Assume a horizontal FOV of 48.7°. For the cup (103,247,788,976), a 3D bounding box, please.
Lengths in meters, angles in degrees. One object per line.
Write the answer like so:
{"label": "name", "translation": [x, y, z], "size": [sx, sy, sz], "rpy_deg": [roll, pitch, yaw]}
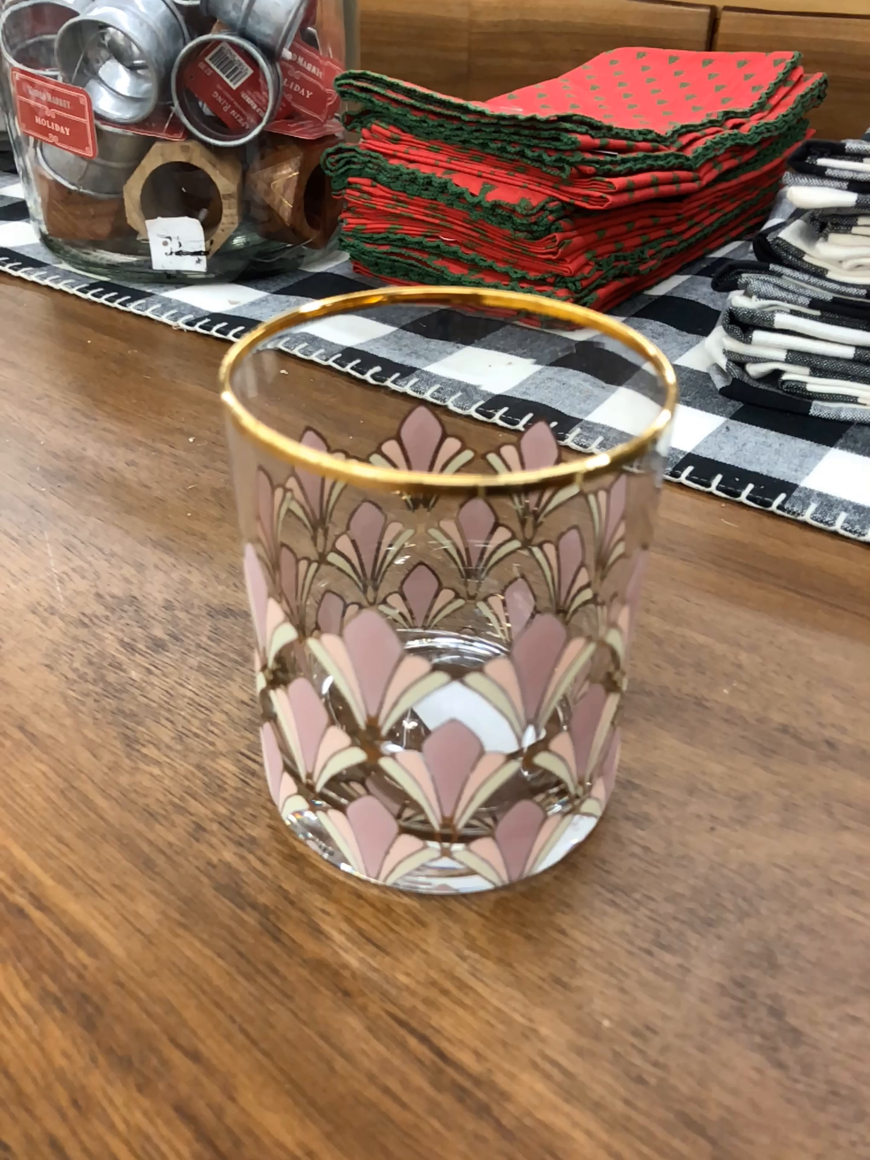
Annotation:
{"label": "cup", "translation": [0.003, -0.002, 0.187], "size": [0.081, 0.090, 0.083], "rpy_deg": [0, 35, 0]}
